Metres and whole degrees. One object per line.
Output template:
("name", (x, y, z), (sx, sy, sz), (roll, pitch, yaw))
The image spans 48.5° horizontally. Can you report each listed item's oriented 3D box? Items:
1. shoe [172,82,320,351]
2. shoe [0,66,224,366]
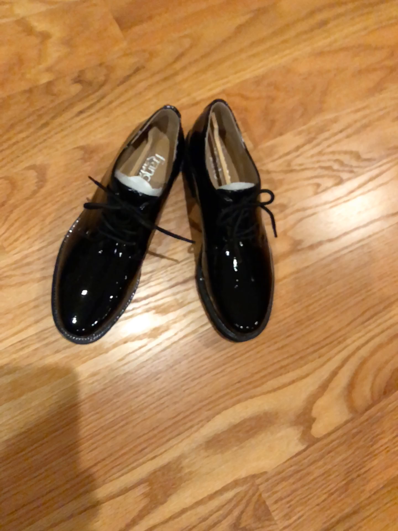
("shoe", (0.039, -0.046, 0.459), (0.095, 0.102, 0.251), (-5, 82, -12))
("shoe", (-0.080, -0.043, 0.431), (0.095, 0.102, 0.251), (26, 77, -6))
